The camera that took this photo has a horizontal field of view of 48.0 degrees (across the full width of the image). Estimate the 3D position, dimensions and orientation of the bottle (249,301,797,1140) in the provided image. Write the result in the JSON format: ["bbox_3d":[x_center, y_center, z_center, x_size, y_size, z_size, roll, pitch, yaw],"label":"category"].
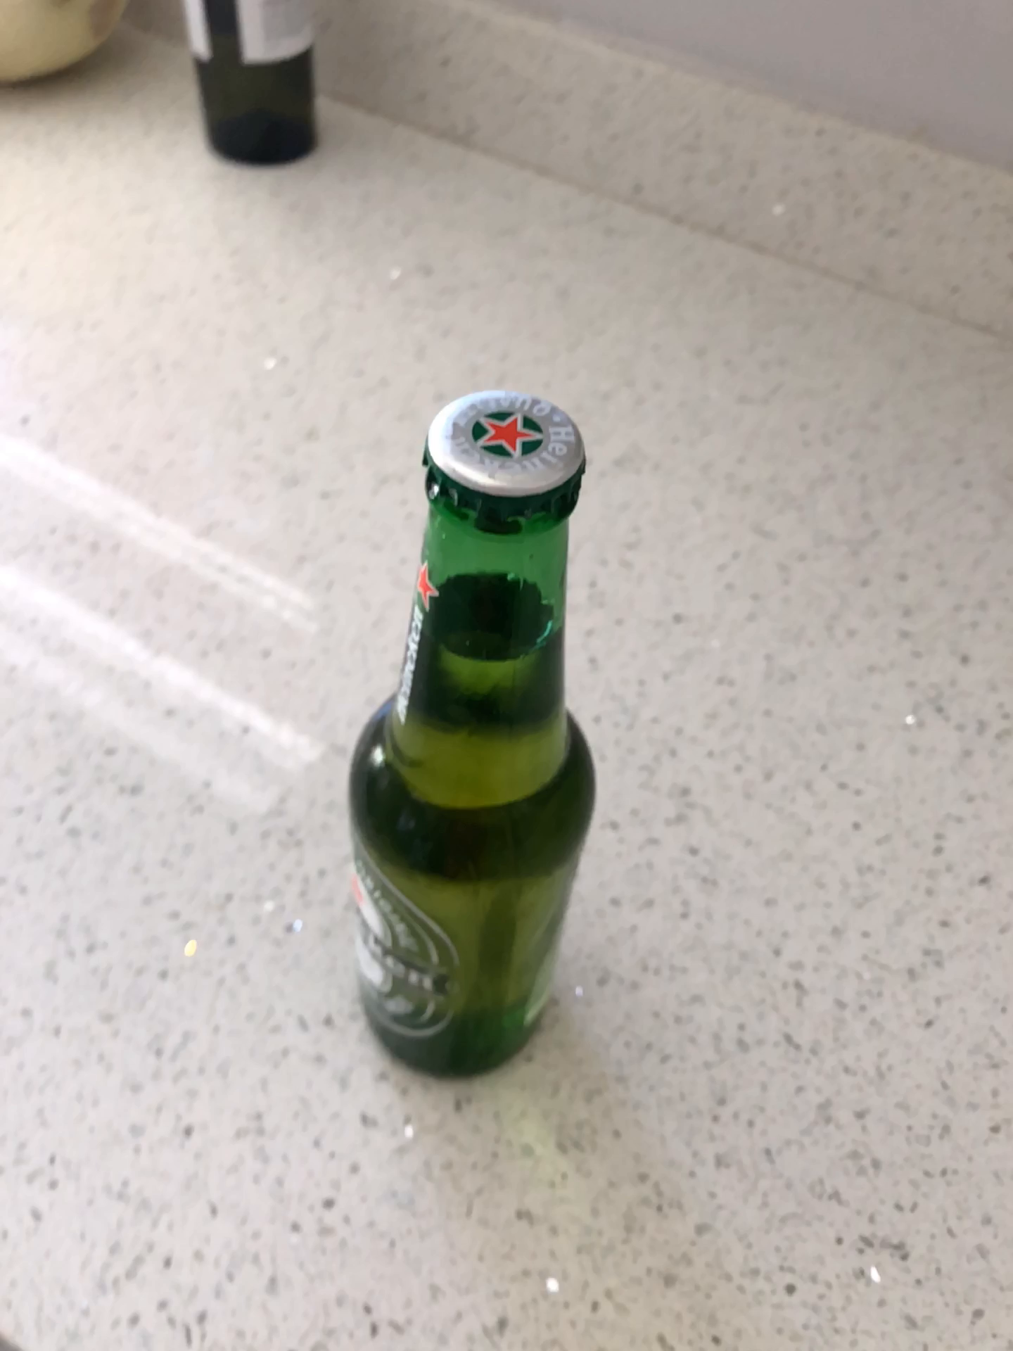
[{"bbox_3d":[-0.006,0.029,0.270,0.070,0.209,0.070,2,50,-2],"label":"bottle"}]
